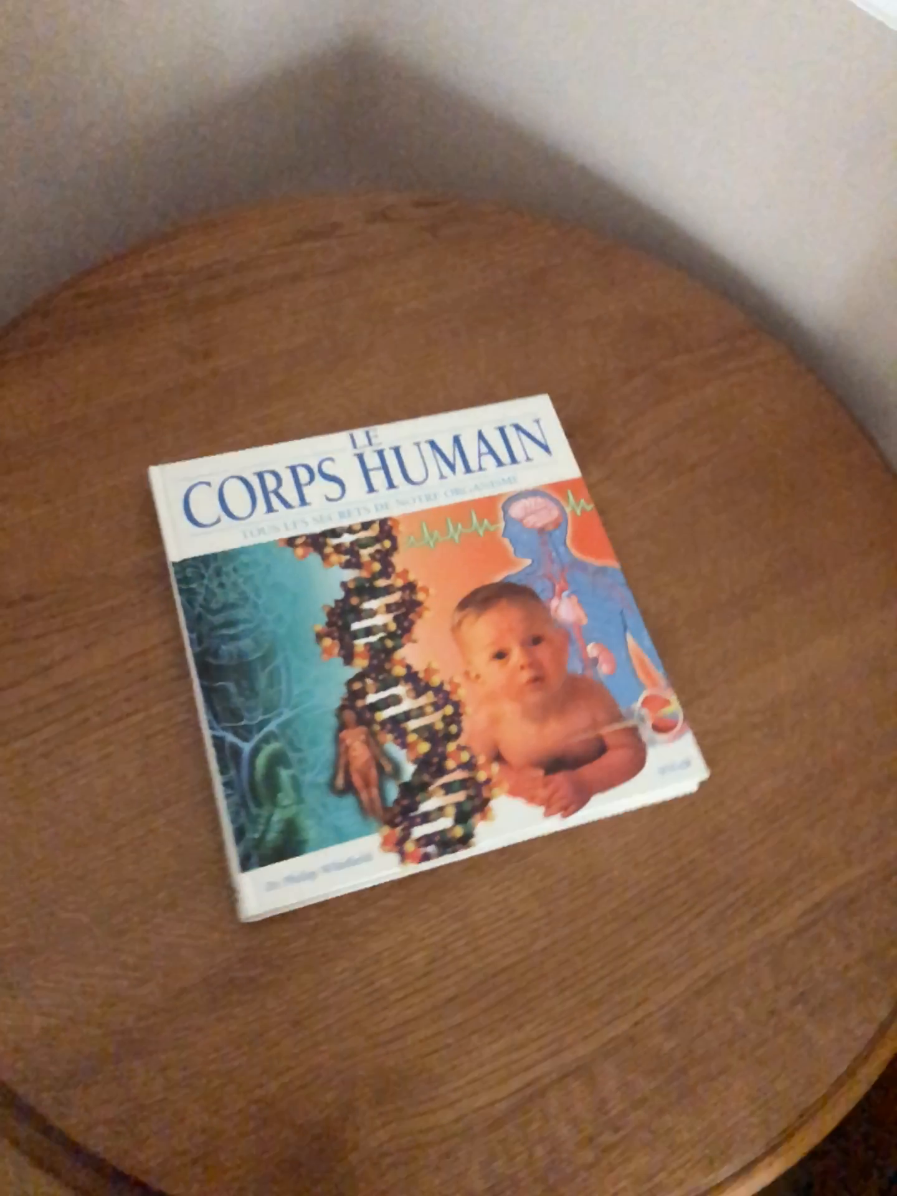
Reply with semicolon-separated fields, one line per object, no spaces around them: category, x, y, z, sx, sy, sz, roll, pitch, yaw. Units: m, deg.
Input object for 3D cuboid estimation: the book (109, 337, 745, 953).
book;-0.020;0.006;0.549;0.270;0.040;0.290;-14;69;-13
